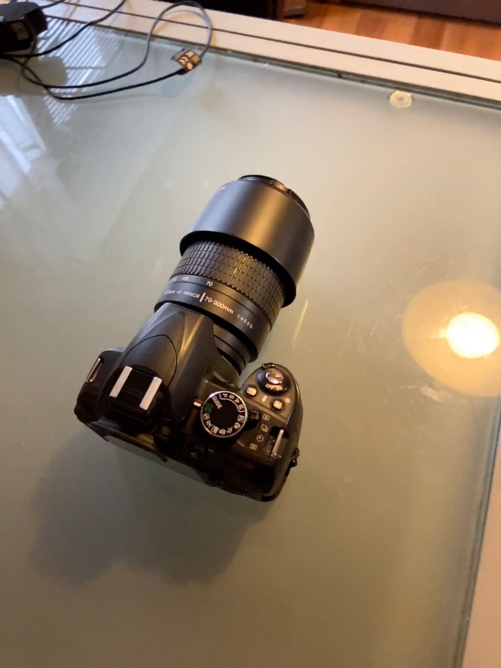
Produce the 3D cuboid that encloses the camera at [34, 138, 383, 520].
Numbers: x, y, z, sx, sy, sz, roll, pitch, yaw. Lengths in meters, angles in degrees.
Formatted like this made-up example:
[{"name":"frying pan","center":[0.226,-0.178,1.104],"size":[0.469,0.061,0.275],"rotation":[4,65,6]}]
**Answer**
[{"name":"camera","center":[-0.011,-0.008,0.320],"size":[0.124,0.094,0.188],"rotation":[18,64,12]}]
